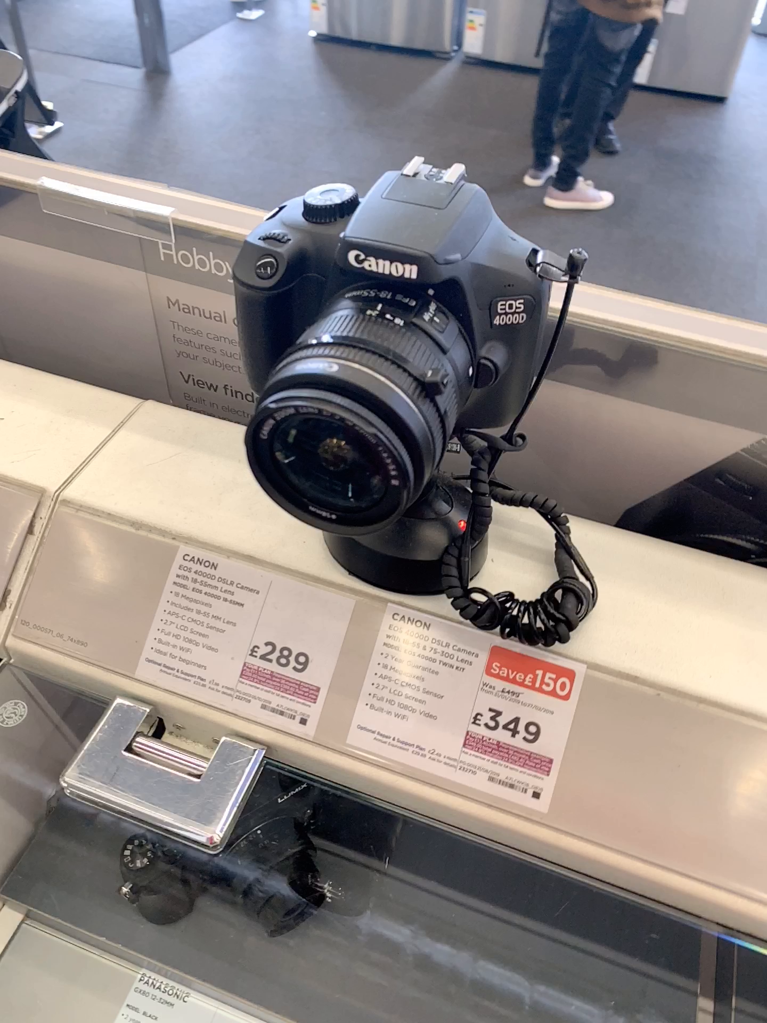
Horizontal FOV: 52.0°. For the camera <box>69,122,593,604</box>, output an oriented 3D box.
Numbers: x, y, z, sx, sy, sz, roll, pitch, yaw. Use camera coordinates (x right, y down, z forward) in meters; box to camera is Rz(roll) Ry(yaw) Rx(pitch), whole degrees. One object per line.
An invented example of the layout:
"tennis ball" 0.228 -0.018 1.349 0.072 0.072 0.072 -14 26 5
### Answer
"camera" -0.012 -0.068 0.315 0.140 0.101 0.137 19 47 15
